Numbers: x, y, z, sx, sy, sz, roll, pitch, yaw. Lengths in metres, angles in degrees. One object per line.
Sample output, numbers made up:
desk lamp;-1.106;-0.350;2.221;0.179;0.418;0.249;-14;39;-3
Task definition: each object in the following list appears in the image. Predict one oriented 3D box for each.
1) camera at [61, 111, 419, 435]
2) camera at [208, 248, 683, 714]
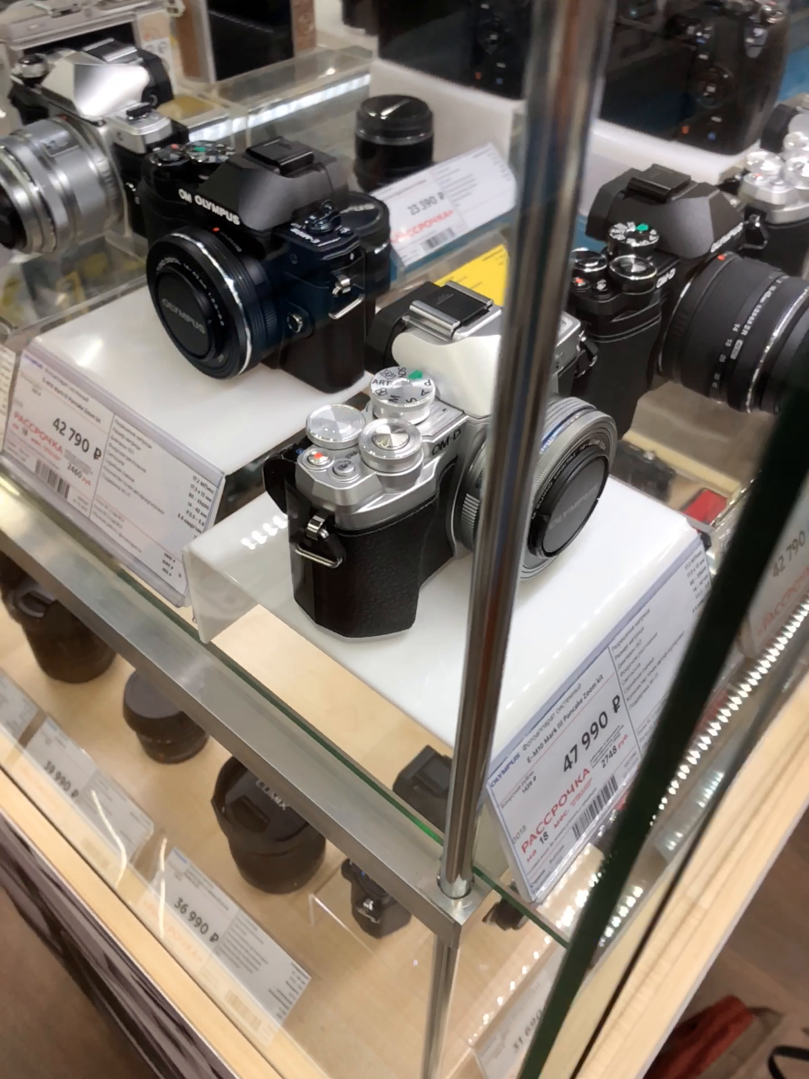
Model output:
camera;-0.062;-0.109;0.353;0.109;0.068;0.078;33;52;28
camera;0.015;-0.025;0.275;0.073;0.067;0.123;31;51;27
